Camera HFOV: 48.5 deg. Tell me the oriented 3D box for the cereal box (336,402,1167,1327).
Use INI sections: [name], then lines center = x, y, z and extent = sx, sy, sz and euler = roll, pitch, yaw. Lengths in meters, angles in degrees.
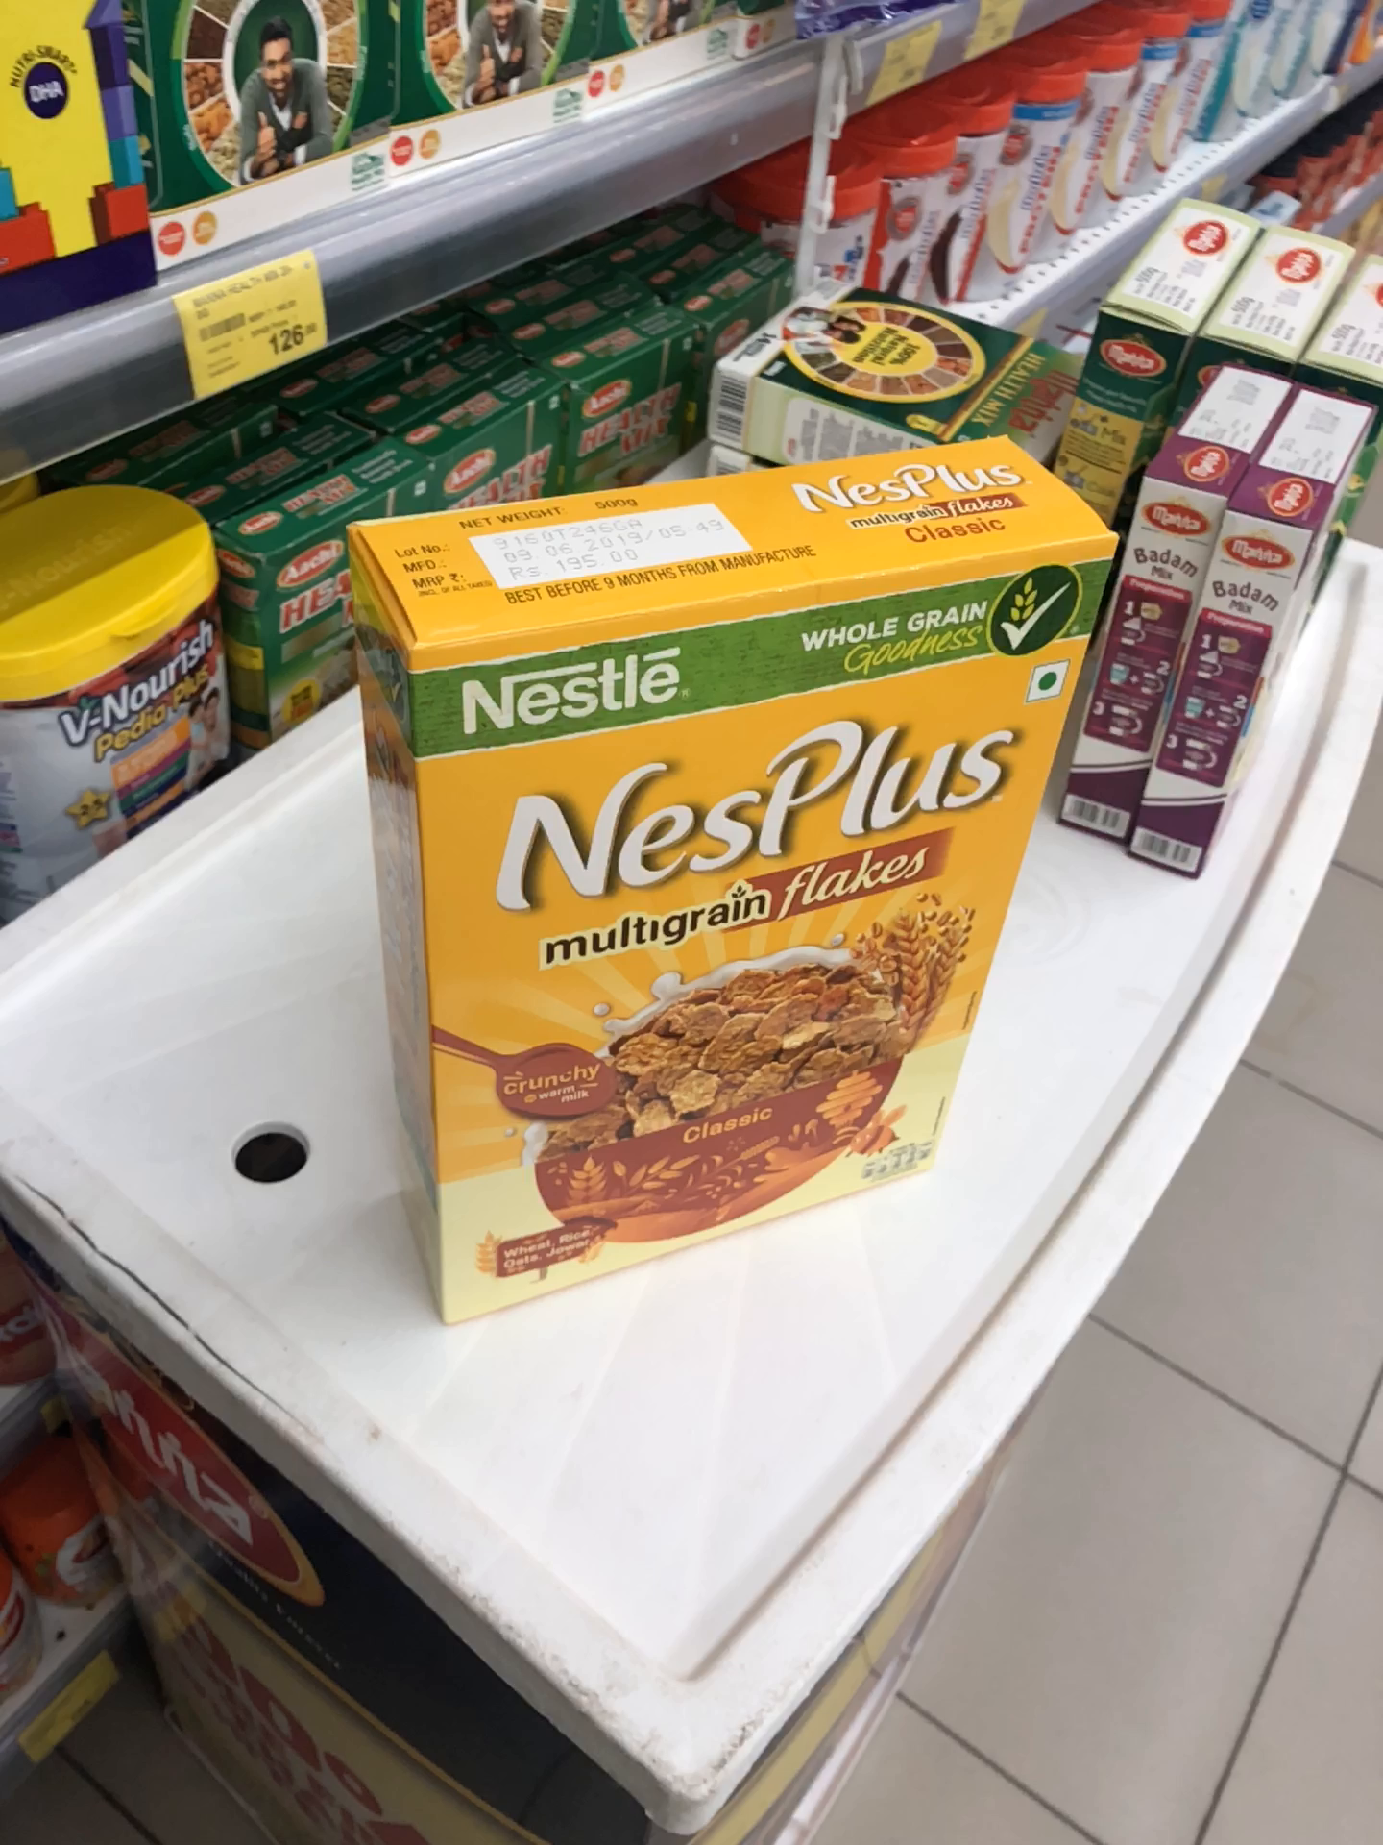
[cereal box]
center = 0.007, -0.008, 0.479
extent = 0.200, 0.269, 0.070
euler = -14, 48, -21
